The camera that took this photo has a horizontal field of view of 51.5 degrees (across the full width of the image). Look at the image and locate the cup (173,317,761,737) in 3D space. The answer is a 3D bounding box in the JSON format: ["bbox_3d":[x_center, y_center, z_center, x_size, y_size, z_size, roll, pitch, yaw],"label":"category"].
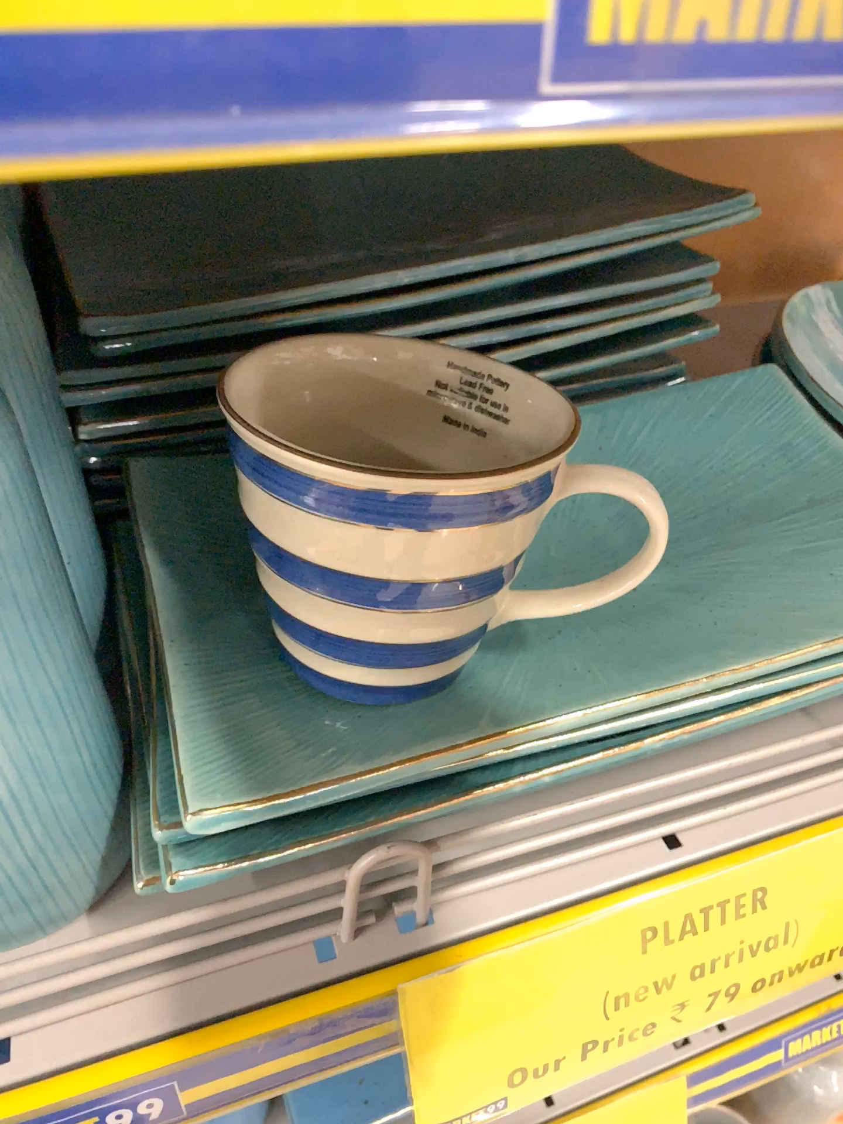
[{"bbox_3d":[0.005,-0.013,0.268,0.140,0.080,0.100,3,33,-8],"label":"cup"}]
